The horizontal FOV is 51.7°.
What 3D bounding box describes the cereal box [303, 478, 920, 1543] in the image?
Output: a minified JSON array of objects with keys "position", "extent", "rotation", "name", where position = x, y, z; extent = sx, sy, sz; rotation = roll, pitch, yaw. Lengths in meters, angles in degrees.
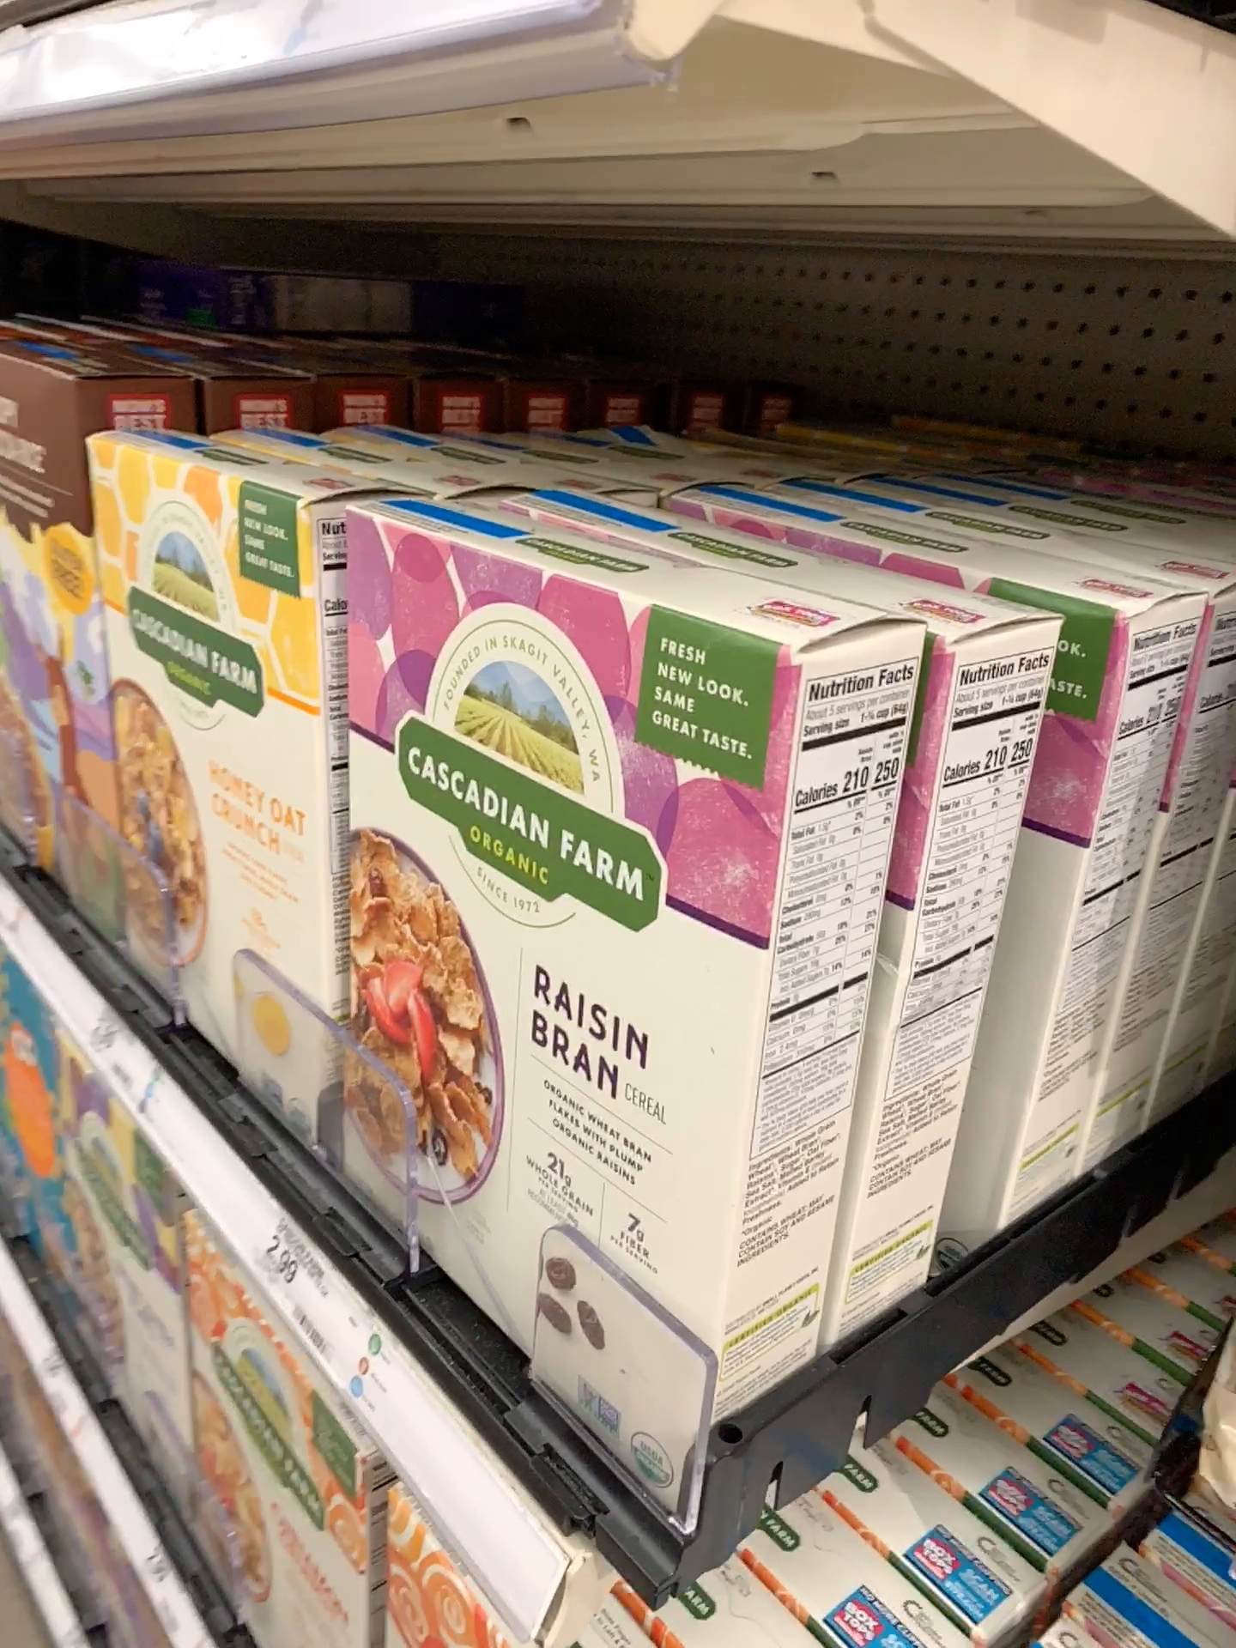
[{"position":[-0.021,0.046,0.400],"extent":[0.050,0.269,0.201],"rotation":[-16,30,-38],"name":"cereal box"}]
